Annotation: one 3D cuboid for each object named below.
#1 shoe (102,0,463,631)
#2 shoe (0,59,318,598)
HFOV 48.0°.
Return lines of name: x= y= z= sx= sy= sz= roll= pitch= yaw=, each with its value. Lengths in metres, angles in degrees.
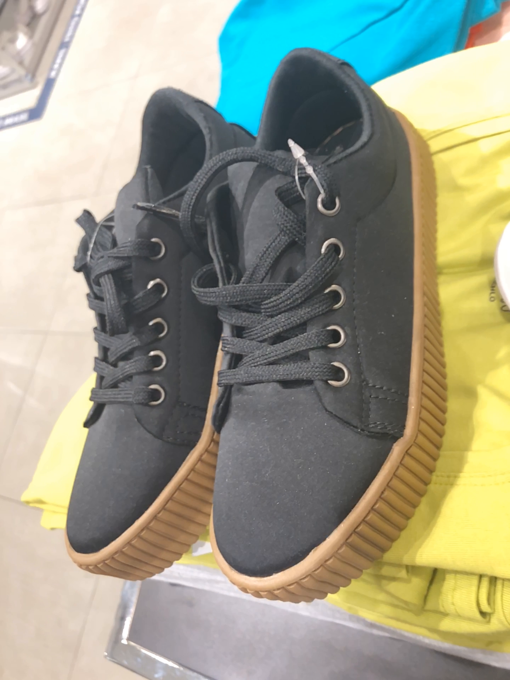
shoe: x=0.025 y=-0.021 z=0.243 sx=0.090 sy=0.080 sz=0.240 roll=-4 pitch=67 yaw=35
shoe: x=-0.048 y=-0.007 z=0.285 sx=0.090 sy=0.080 sz=0.230 roll=1 pitch=69 yaw=37
